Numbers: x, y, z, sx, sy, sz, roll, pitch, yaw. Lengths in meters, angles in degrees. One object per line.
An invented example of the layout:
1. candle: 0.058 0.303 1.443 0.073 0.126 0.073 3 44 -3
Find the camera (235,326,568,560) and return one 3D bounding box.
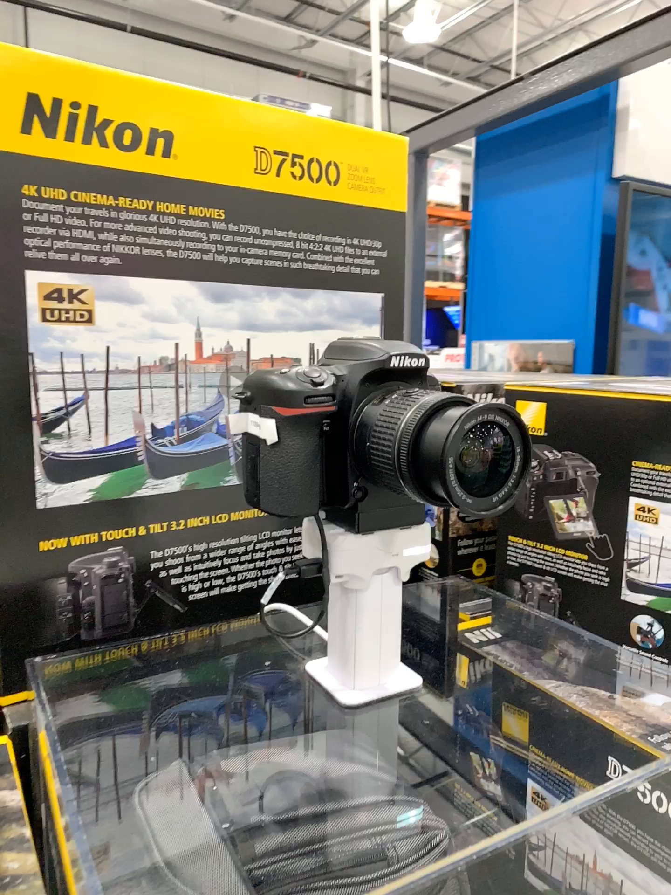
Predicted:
1. camera: 0.036 -0.012 0.410 0.160 0.110 0.110 -3 8 -30
